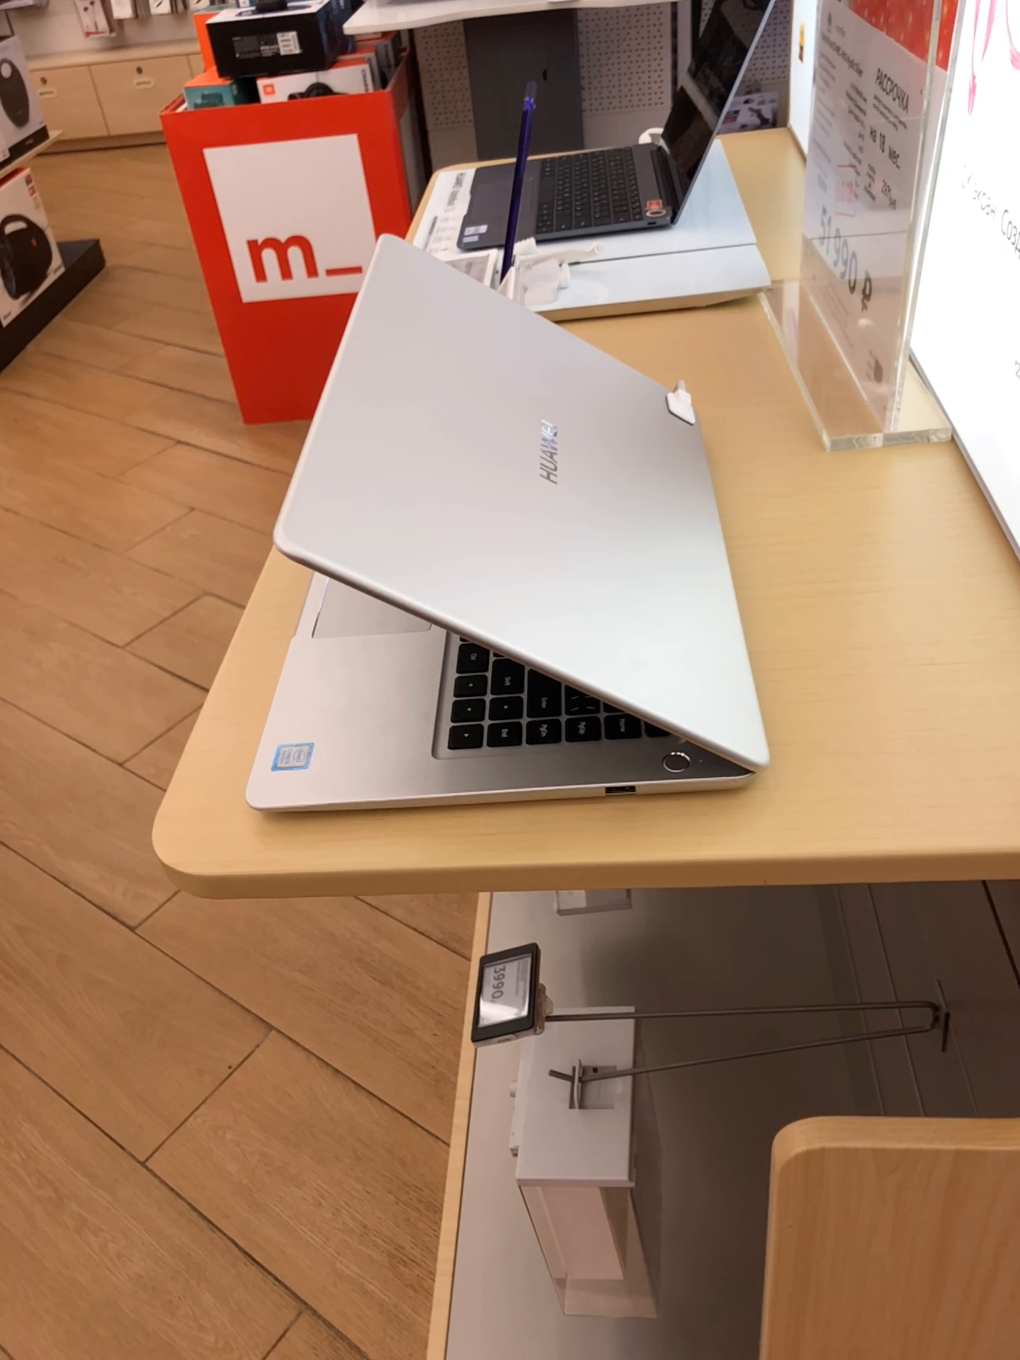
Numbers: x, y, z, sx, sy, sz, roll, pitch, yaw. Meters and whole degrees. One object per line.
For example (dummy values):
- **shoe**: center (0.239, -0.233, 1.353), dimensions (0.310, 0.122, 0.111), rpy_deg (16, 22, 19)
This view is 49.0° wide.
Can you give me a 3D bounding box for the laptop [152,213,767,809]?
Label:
- **laptop**: center (-0.005, -0.110, 0.587), dimensions (0.230, 0.135, 0.344), rpy_deg (-3, 38, 7)
